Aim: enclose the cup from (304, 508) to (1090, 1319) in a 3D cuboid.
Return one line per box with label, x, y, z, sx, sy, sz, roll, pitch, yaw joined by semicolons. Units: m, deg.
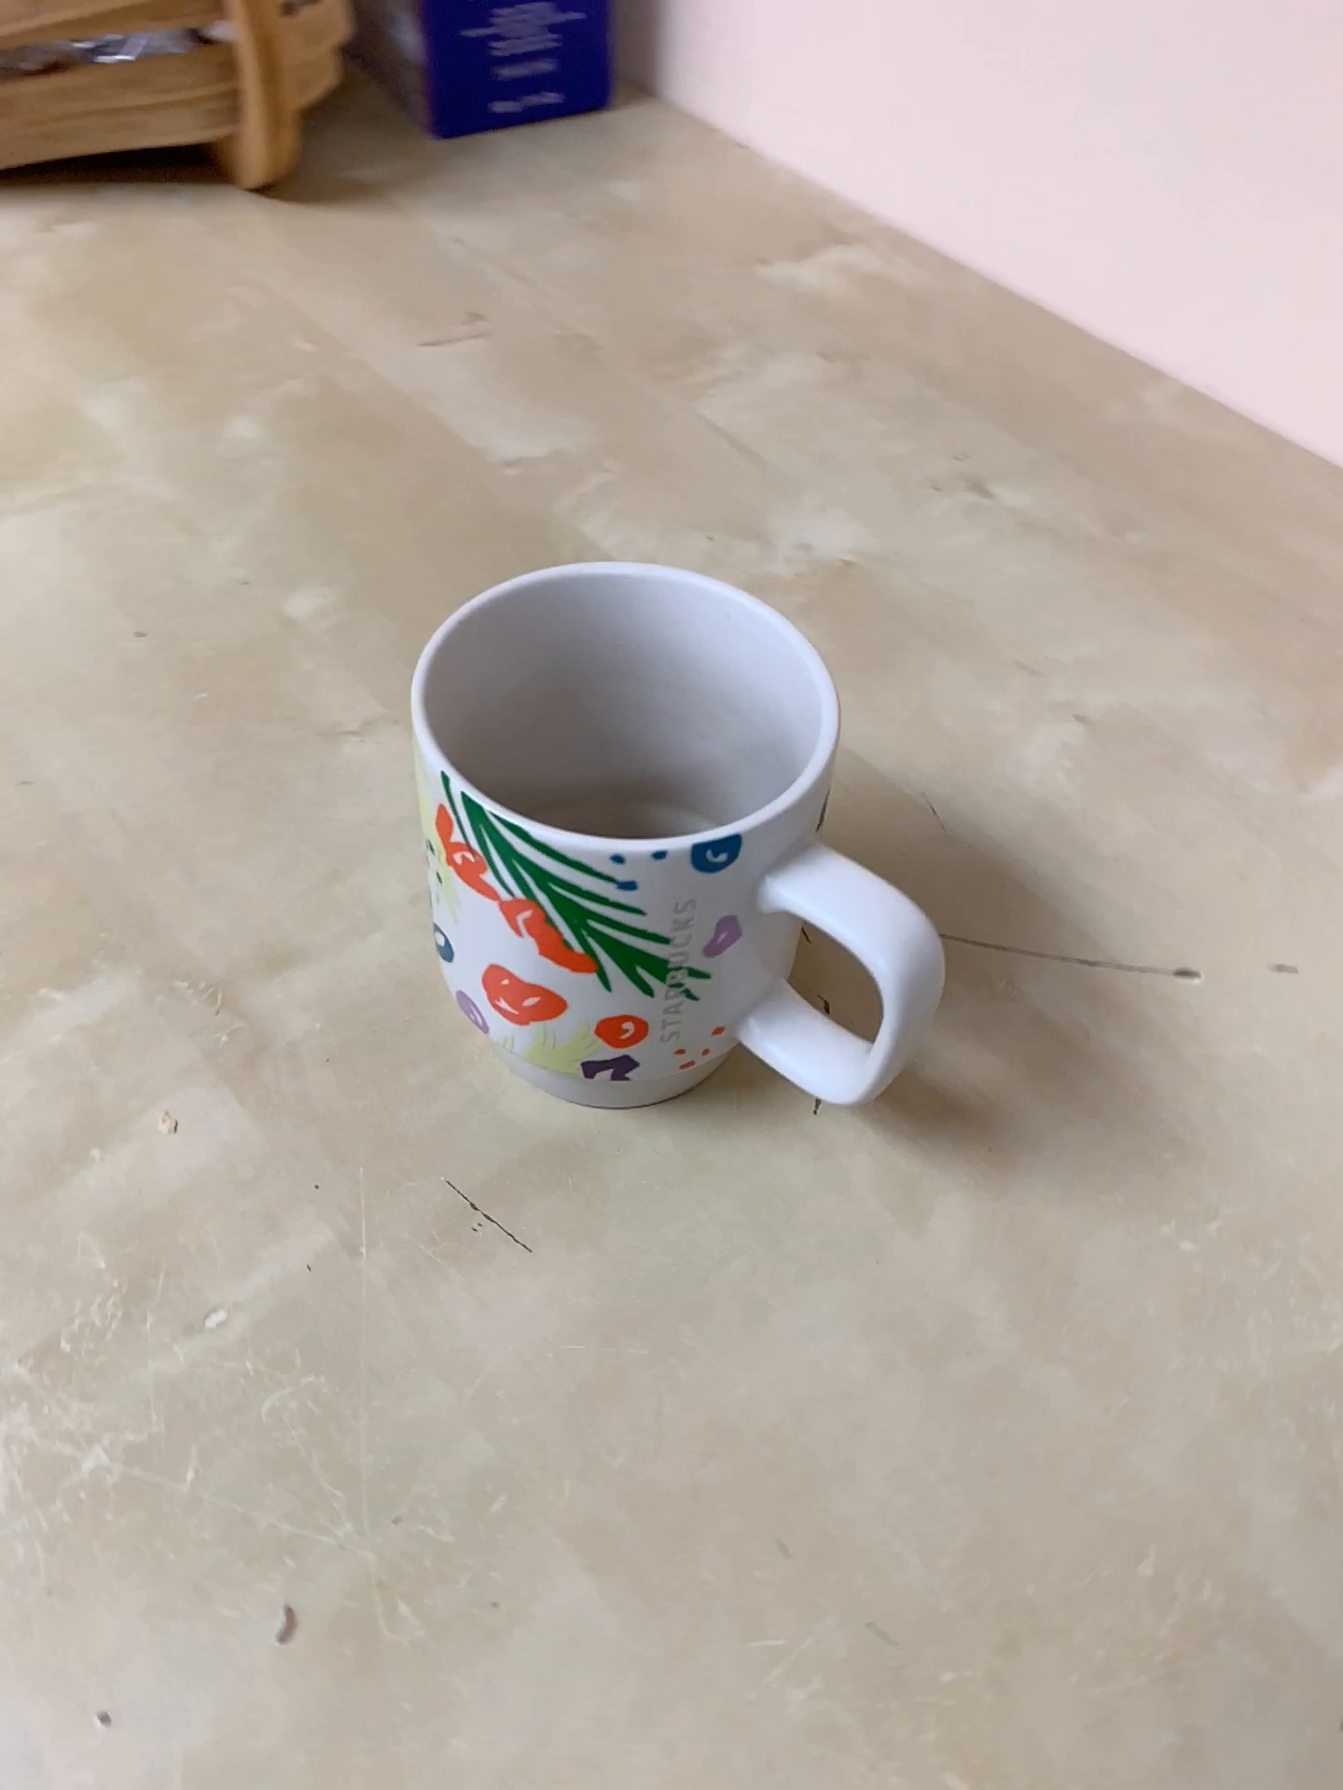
cup;0.001;0.001;0.297;0.128;0.095;0.082;36;56;24
